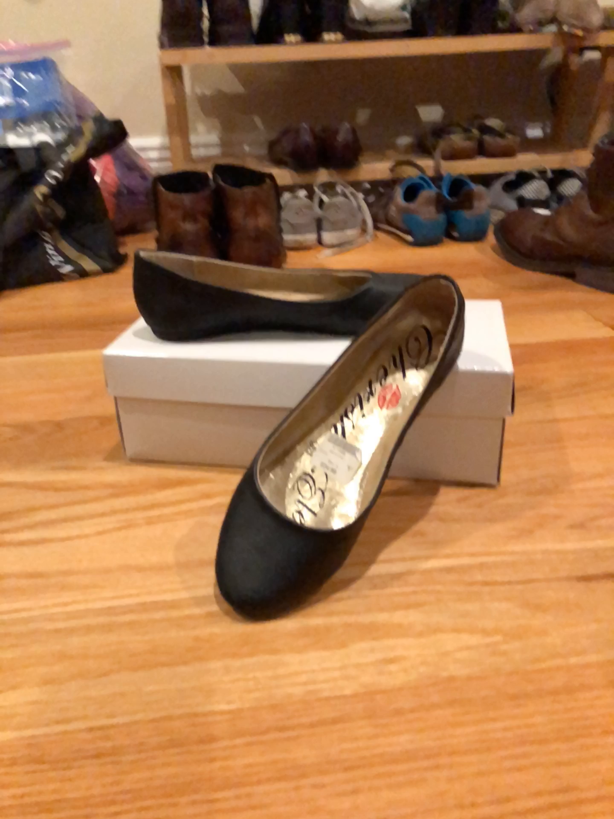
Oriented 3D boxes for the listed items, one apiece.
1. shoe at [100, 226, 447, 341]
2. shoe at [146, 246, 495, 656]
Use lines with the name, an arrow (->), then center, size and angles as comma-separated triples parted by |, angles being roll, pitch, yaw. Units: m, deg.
shoe -> -0.022, -0.097, 0.510 | 0.239, 0.060, 0.076 | -1, 27, 3
shoe -> 0.017, 0.021, 0.410 | 0.076, 0.060, 0.240 | 31, 77, 25
